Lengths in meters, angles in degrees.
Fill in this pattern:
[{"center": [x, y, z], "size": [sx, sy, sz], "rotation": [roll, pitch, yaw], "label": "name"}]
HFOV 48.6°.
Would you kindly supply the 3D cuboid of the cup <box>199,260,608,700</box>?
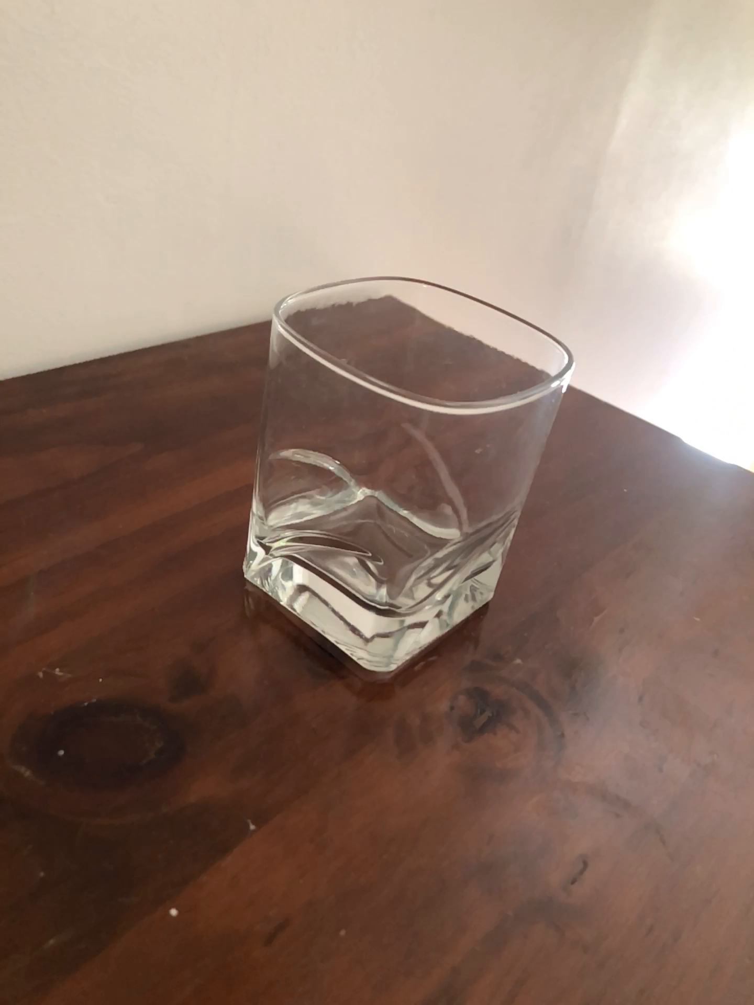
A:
[{"center": [0.005, -0.013, 0.248], "size": [0.076, 0.087, 0.078], "rotation": [8, 32, -5], "label": "cup"}]
